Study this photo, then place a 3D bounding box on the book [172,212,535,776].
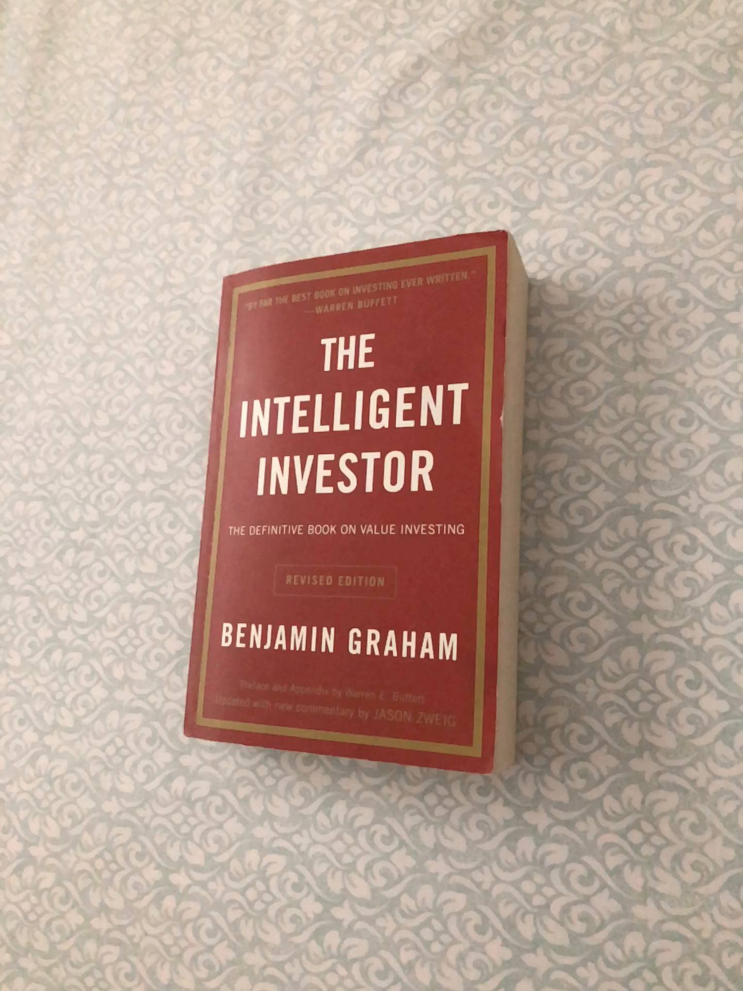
[{"bbox_3d":[-0.005,0.000,0.337,0.130,0.050,0.200,-2,80,25],"label":"book"}]
